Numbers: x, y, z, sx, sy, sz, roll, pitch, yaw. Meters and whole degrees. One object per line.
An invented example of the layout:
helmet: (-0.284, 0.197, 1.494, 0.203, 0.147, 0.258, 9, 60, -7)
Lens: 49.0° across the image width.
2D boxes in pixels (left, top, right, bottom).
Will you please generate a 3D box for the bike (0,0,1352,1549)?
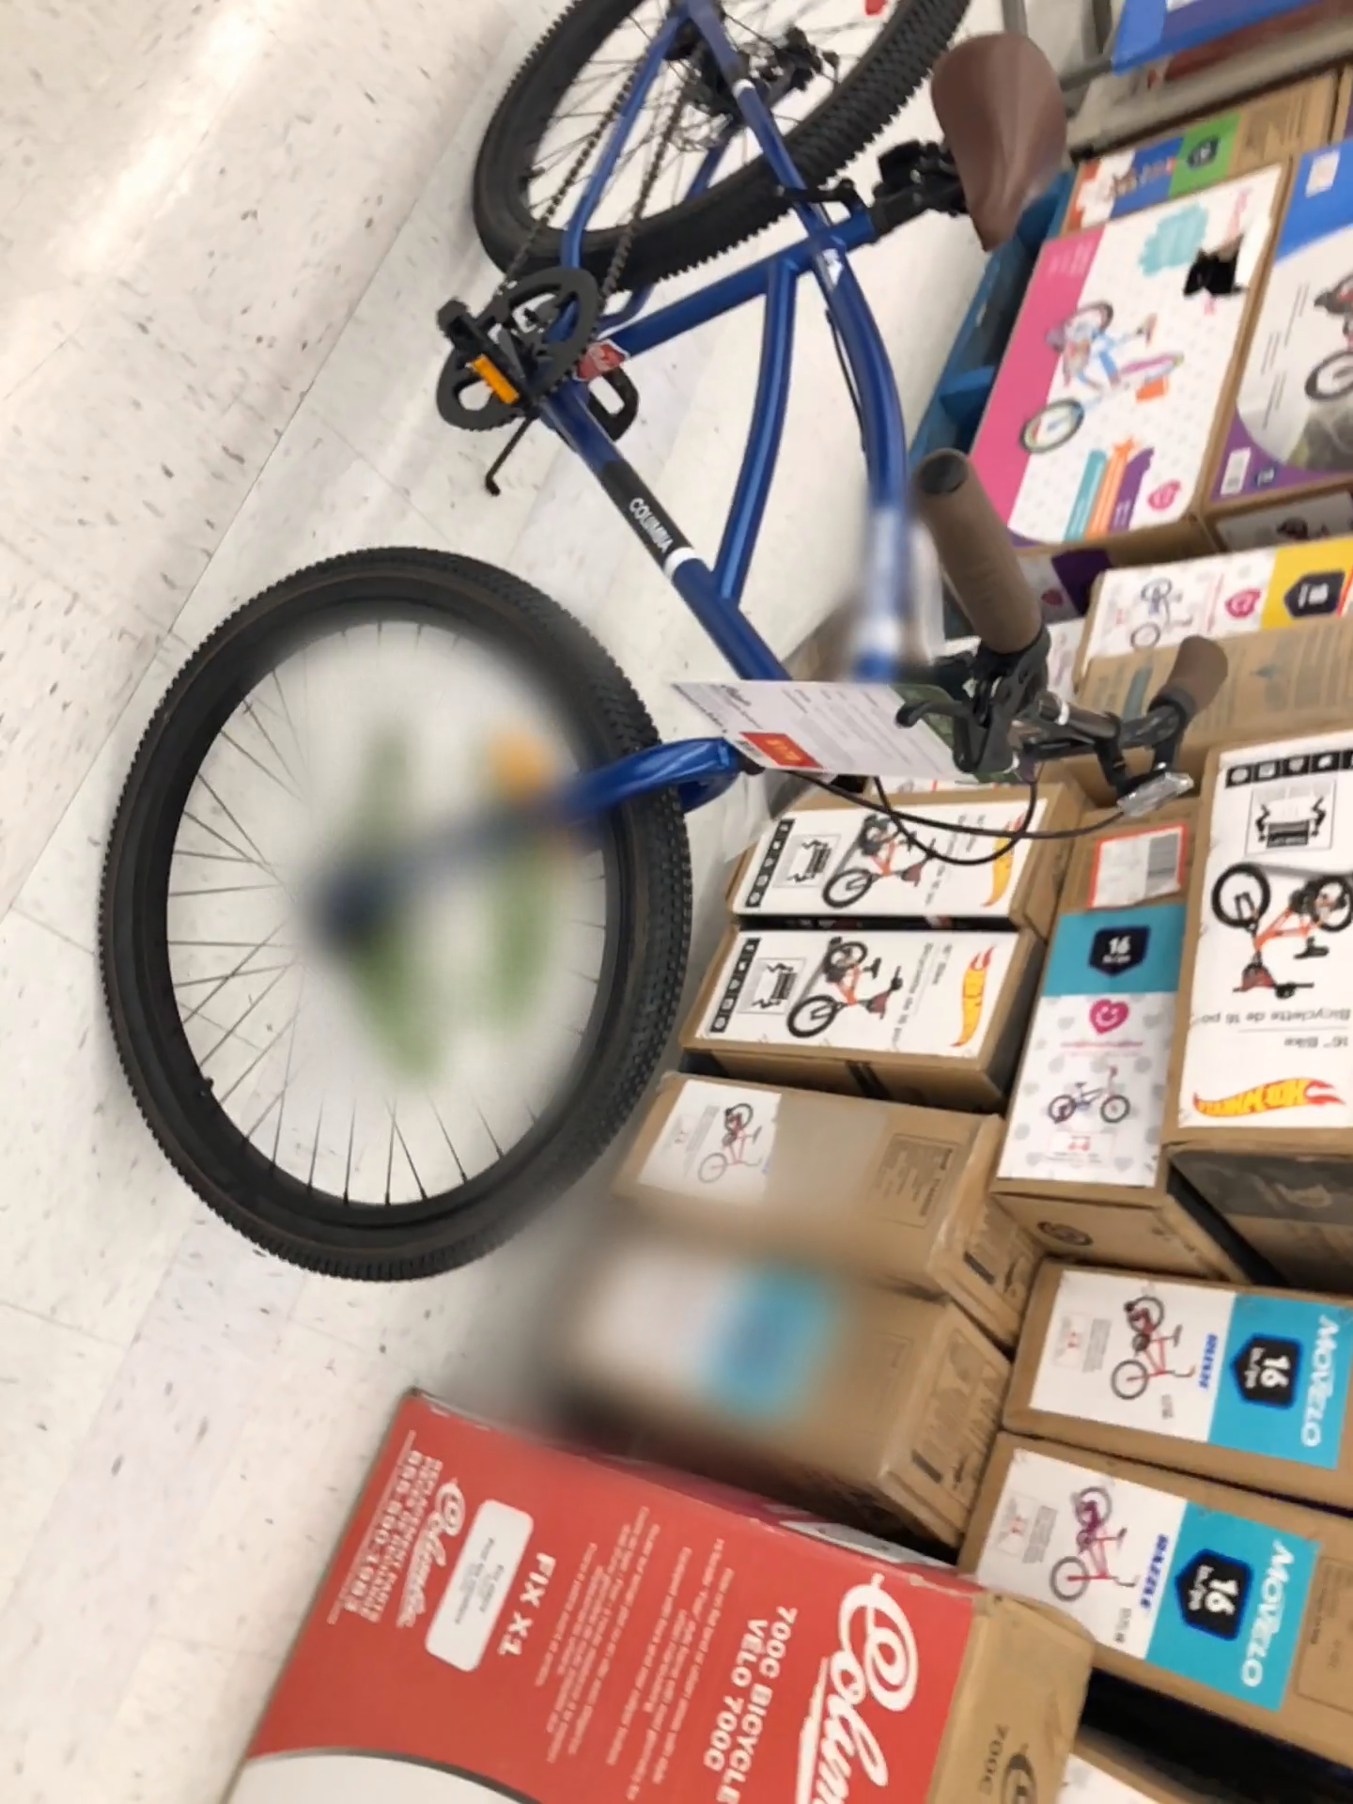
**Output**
bike: (0.091, -0.407, 1.336, 0.651, 0.928, 1.553, 32, 66, -44)
